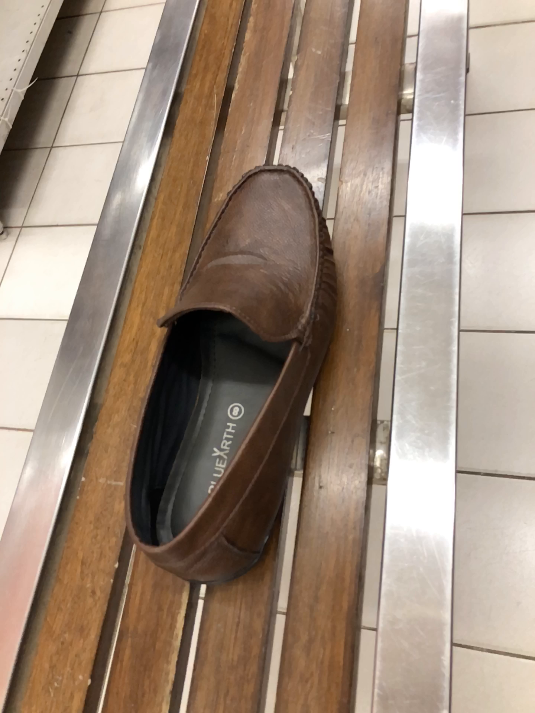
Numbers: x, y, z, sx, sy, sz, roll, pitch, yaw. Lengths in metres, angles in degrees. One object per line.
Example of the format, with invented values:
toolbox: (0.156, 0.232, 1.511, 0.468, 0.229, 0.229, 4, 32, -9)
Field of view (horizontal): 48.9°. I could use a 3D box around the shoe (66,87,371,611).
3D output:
shoe: (-0.010, -0.014, 0.367, 0.104, 0.093, 0.302, 4, 67, 18)
